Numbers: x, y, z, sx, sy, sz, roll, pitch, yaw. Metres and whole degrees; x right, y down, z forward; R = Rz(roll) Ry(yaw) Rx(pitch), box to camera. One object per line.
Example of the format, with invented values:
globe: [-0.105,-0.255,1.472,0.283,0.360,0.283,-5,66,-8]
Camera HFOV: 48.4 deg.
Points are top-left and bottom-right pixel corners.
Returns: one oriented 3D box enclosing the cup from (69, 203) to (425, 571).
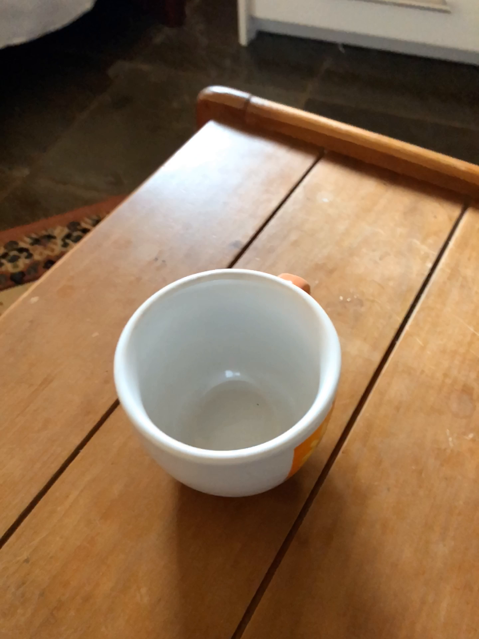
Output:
cup: [0.008,0.022,0.221,0.090,0.060,0.111,23,57,18]
